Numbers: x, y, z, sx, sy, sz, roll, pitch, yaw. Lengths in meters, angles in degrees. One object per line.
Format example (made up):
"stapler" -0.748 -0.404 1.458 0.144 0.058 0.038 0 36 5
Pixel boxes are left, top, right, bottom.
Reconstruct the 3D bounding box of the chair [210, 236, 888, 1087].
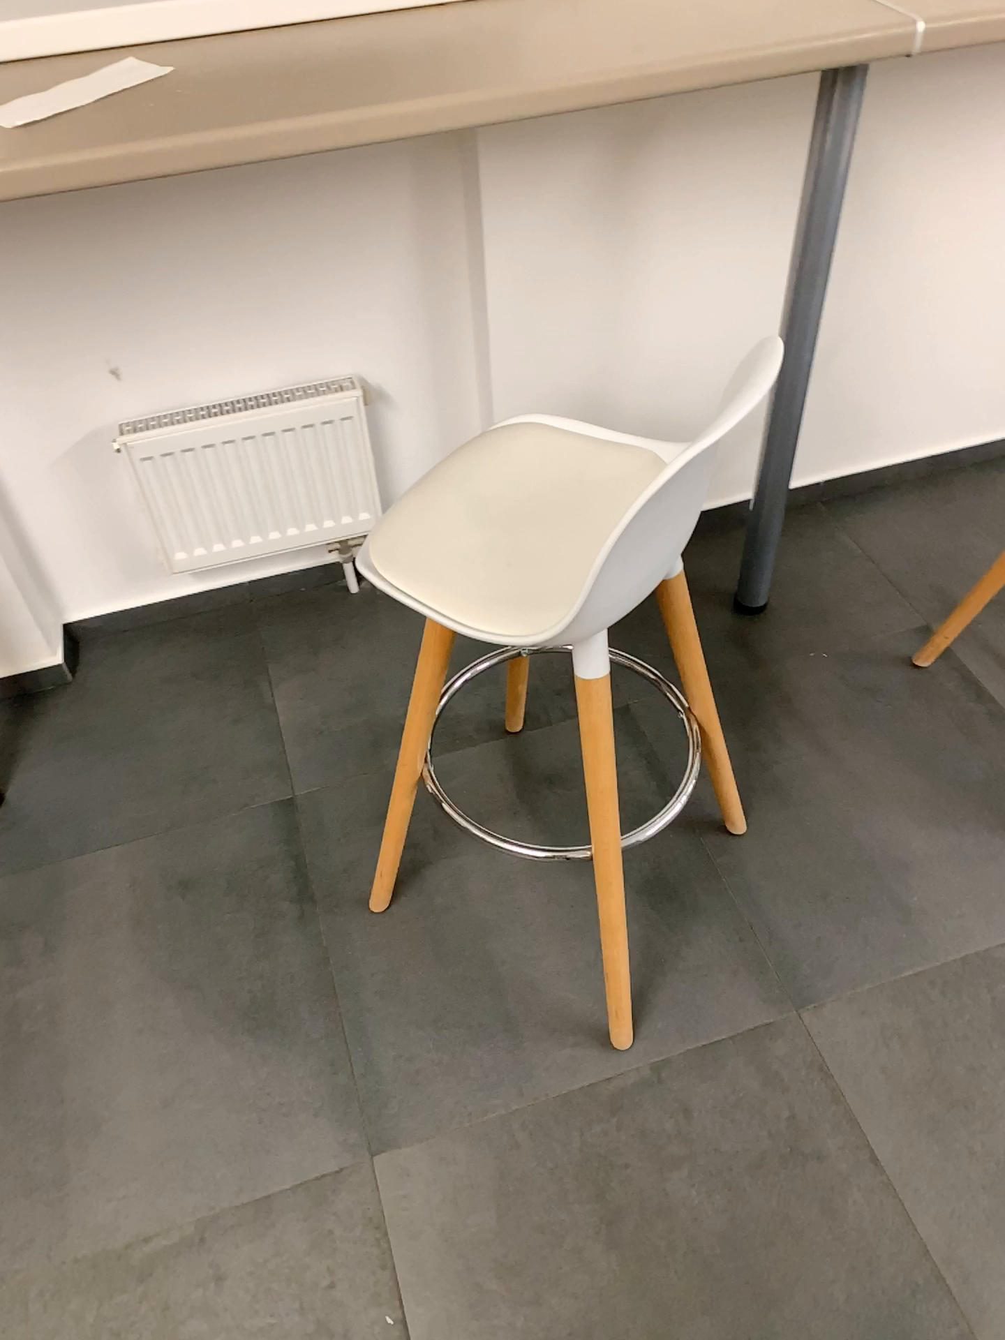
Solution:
"chair" 0.080 0.025 1.307 0.481 0.886 0.482 22 51 23
